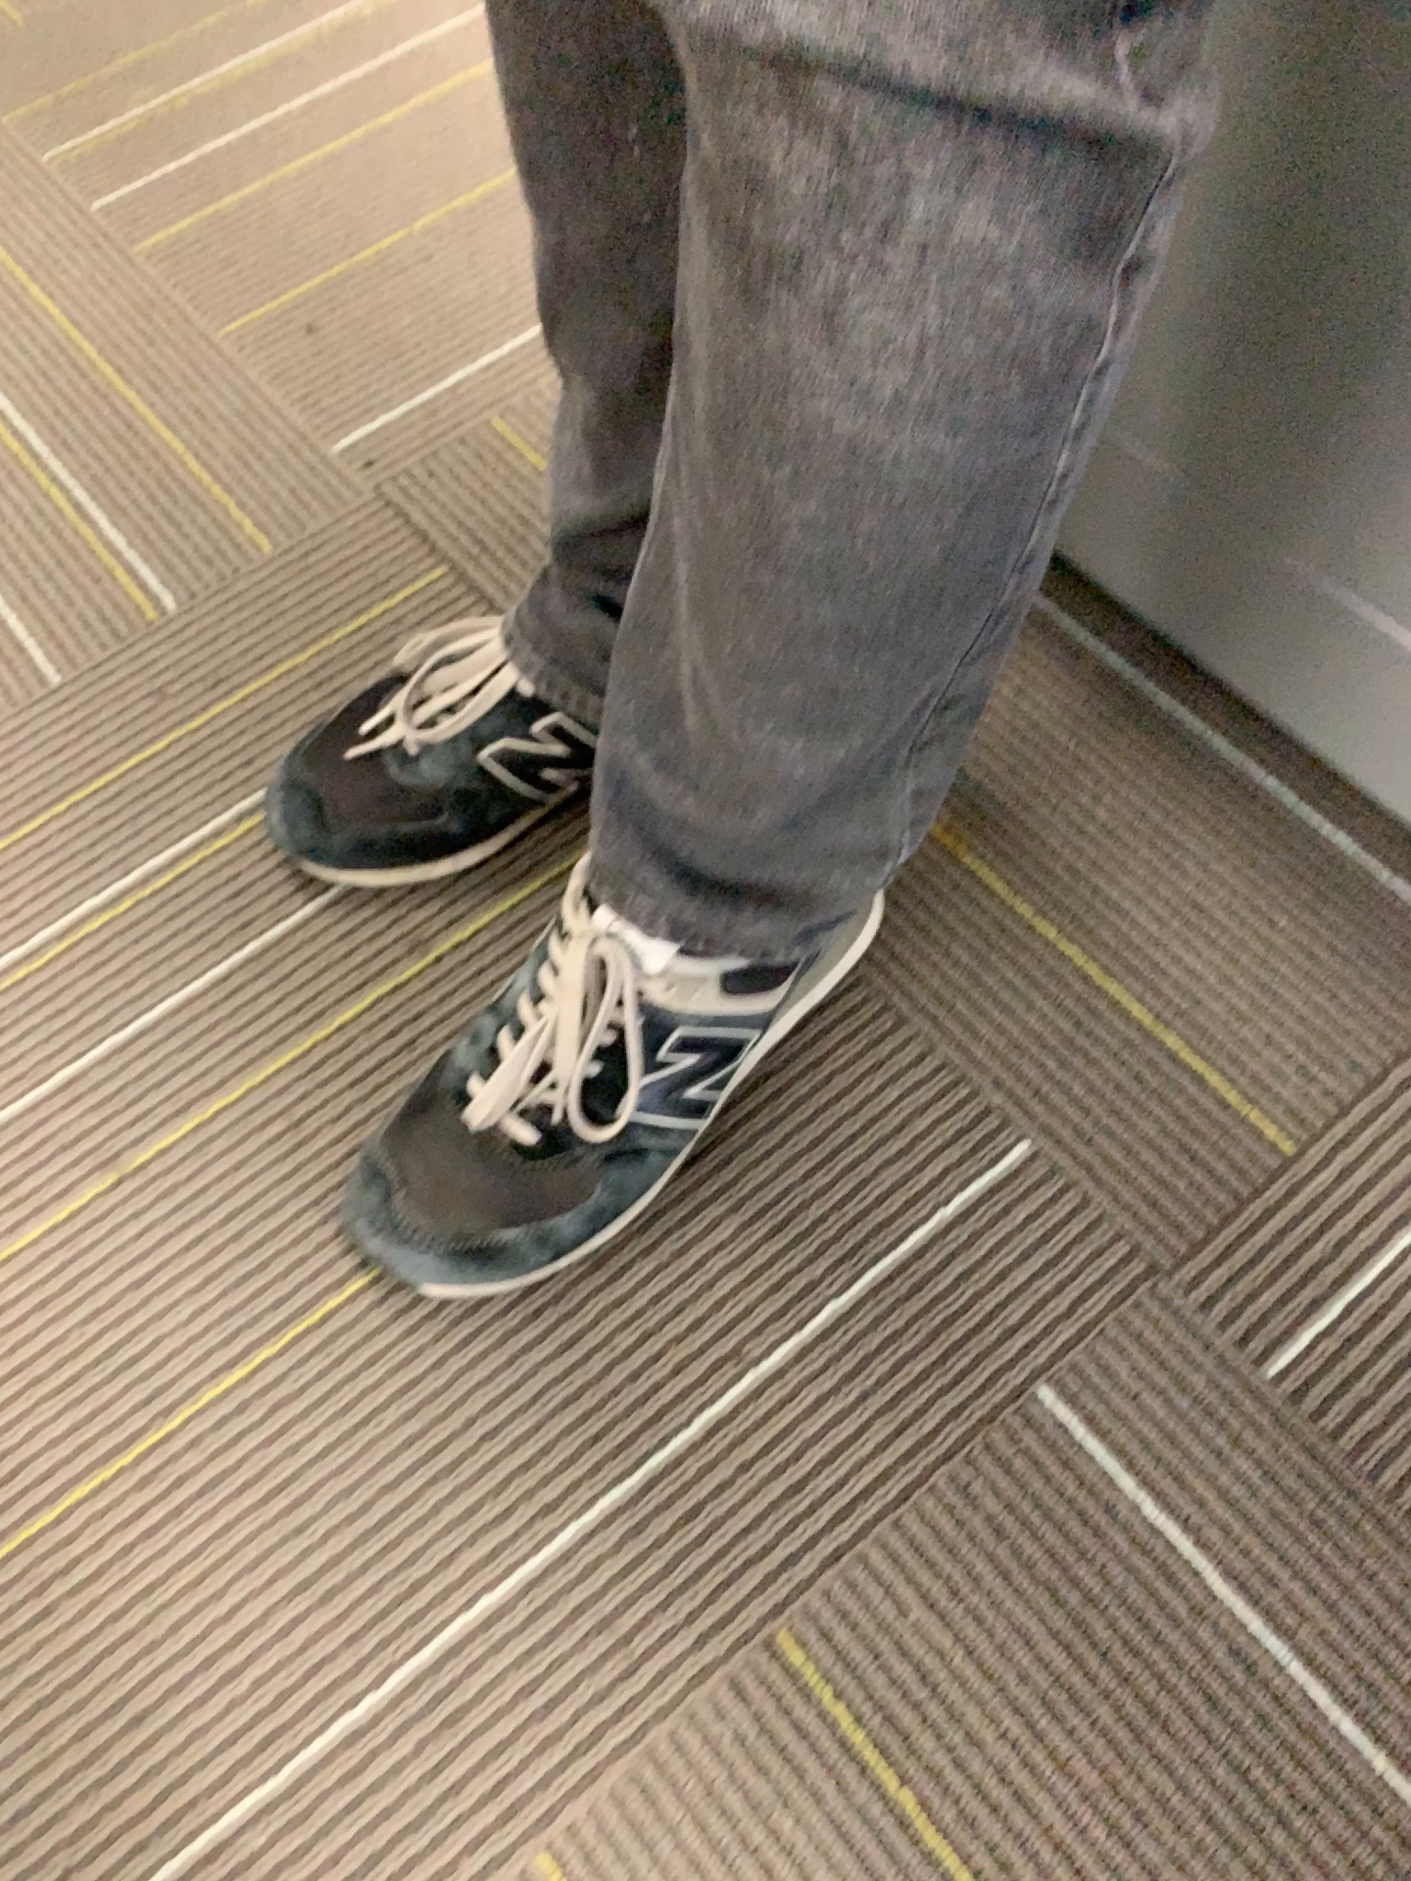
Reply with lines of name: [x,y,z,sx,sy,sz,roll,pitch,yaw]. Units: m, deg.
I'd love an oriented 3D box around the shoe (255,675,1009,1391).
shoe: [-0.023,0.033,0.654,0.315,0.087,0.131,-41,65,-17]

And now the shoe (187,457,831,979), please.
shoe: [-0.093,-0.116,0.731,0.279,0.085,0.138,-27,62,-11]
